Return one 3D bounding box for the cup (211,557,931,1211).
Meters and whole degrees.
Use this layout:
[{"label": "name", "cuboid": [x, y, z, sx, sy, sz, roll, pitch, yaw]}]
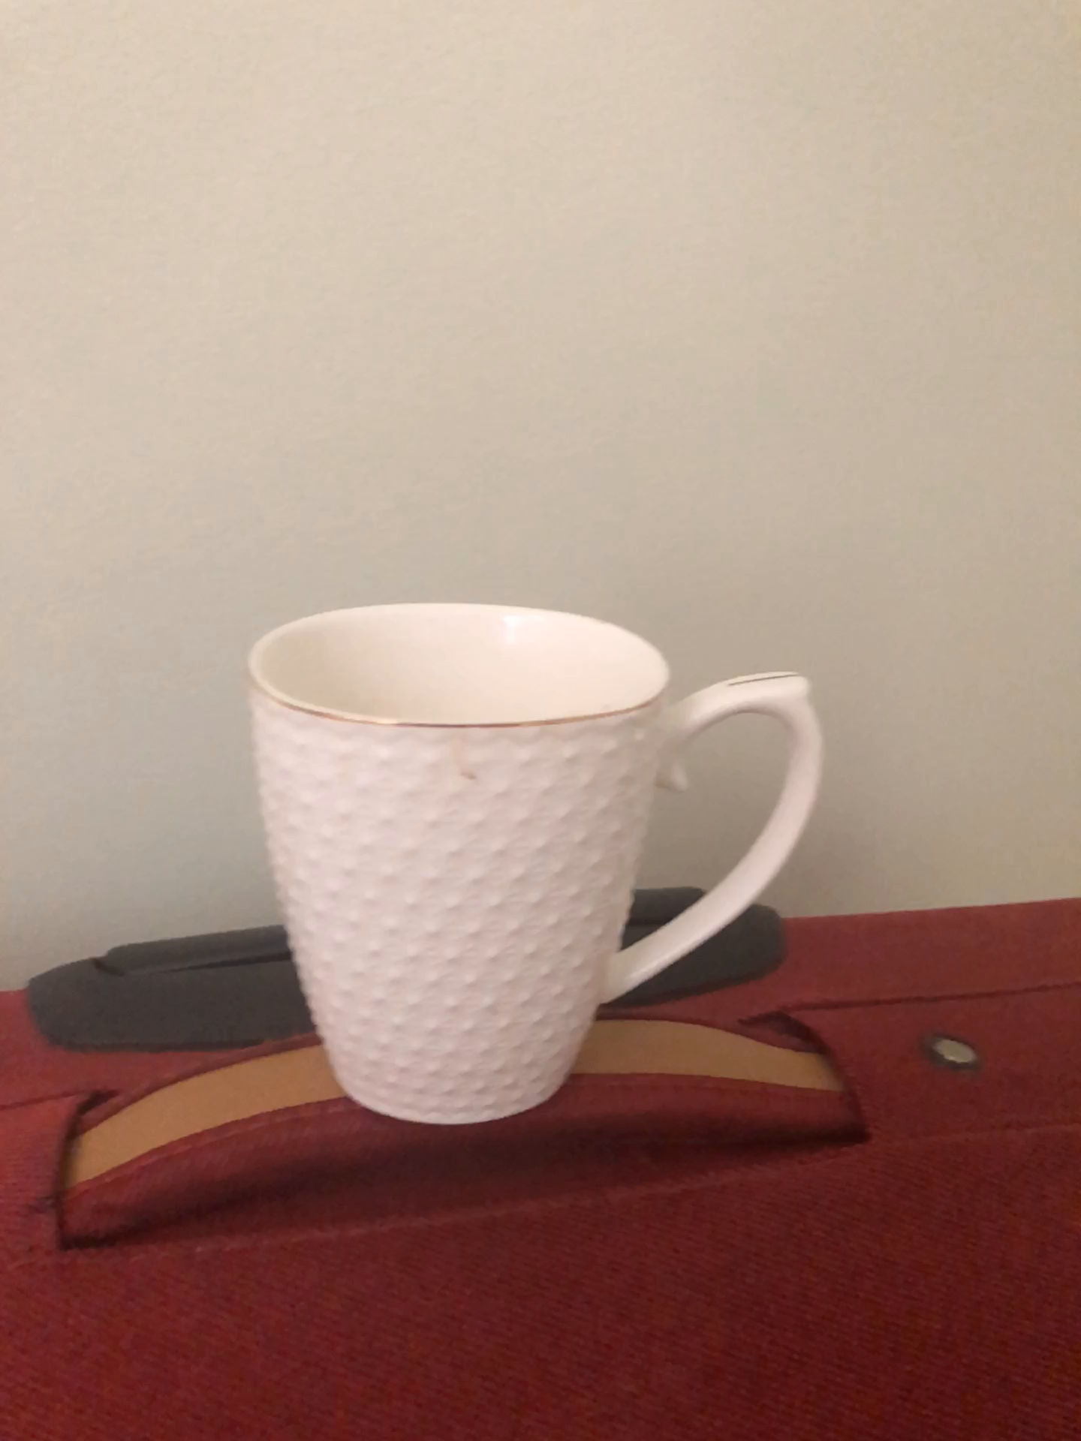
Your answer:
[{"label": "cup", "cuboid": [0.000, 0.022, 0.234, 0.112, 0.084, 0.075, -7, 23, -19]}]
